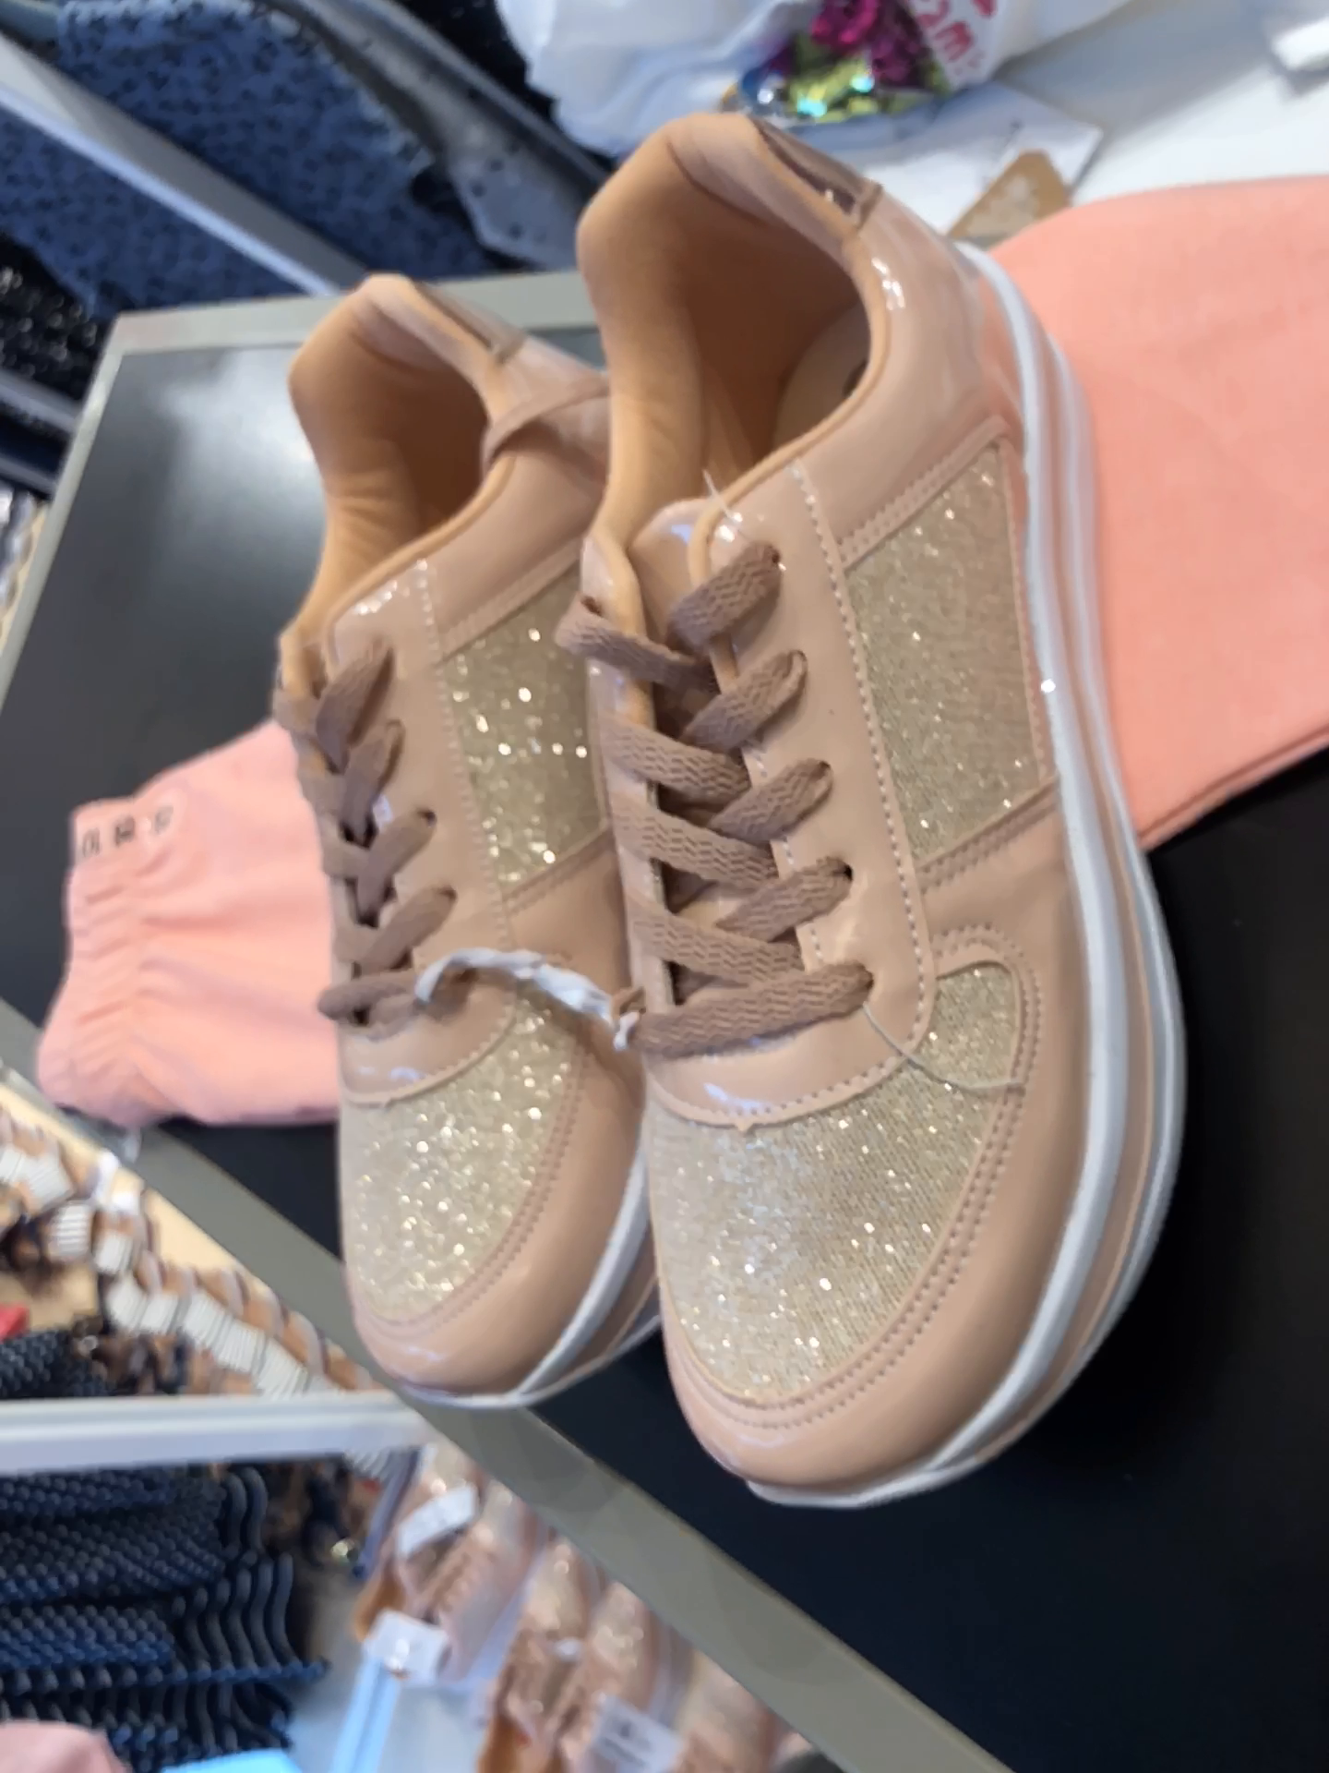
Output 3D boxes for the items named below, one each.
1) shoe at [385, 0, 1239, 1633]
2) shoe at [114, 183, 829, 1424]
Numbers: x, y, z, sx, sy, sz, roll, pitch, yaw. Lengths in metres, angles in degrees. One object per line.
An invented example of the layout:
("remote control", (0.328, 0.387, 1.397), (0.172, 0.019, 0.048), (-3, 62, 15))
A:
("shoe", (0.027, -0.011, 0.250), (0.090, 0.090, 0.220), (-10, 70, 41))
("shoe", (-0.033, -0.009, 0.318), (0.090, 0.099, 0.220), (-10, 70, 41))
